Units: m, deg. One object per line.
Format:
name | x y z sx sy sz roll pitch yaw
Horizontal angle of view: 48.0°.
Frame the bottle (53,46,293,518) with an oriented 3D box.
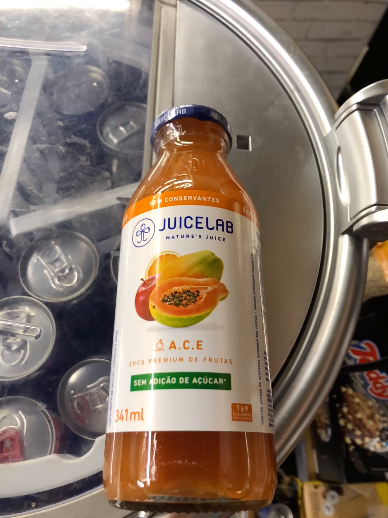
bottle | -0.004 -0.001 0.187 0.070 0.050 0.191 1 67 2
